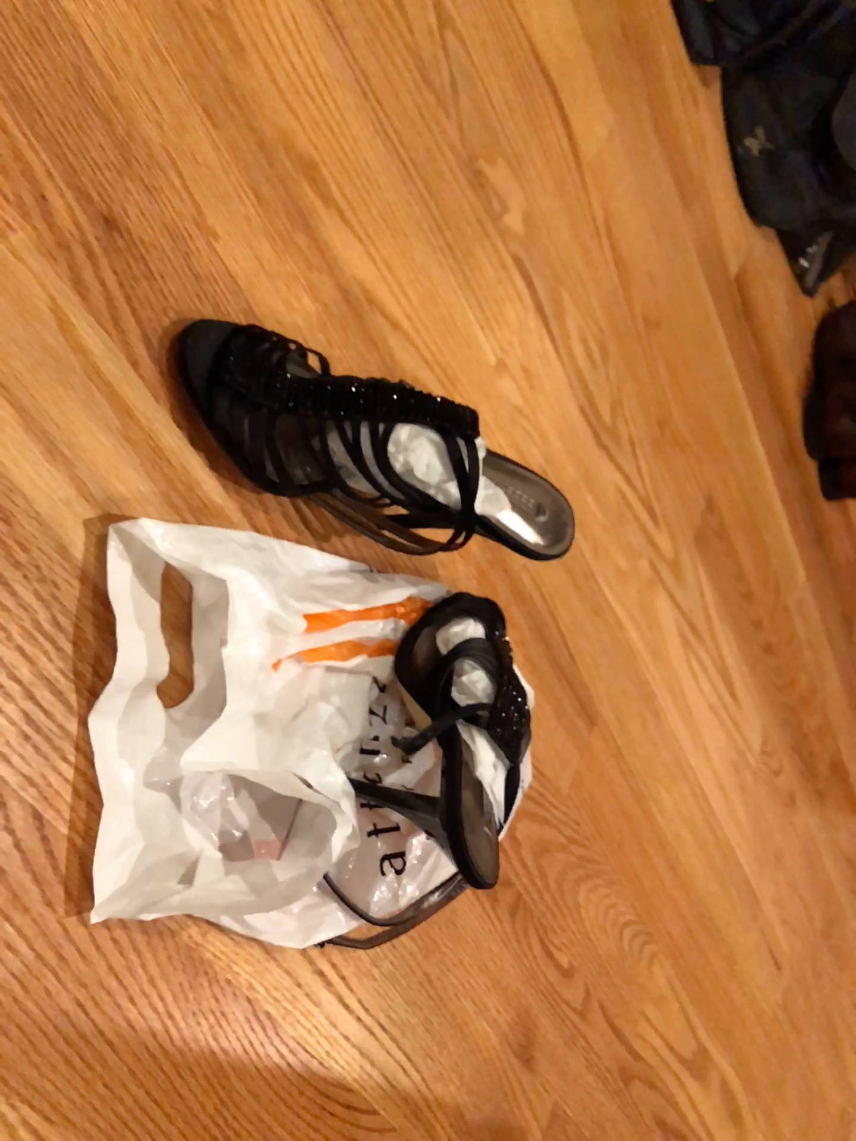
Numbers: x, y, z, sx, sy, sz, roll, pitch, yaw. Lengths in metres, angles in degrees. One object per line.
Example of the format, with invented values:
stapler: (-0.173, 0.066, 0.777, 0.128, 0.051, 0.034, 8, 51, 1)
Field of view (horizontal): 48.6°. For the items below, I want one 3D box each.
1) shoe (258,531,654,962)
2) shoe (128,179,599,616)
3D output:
shoe: (0.028, 0.084, 0.527, 0.218, 0.113, 0.092, -55, 128, -41)
shoe: (-0.018, -0.068, 0.484, 0.218, 0.113, 0.090, 41, 55, -43)
